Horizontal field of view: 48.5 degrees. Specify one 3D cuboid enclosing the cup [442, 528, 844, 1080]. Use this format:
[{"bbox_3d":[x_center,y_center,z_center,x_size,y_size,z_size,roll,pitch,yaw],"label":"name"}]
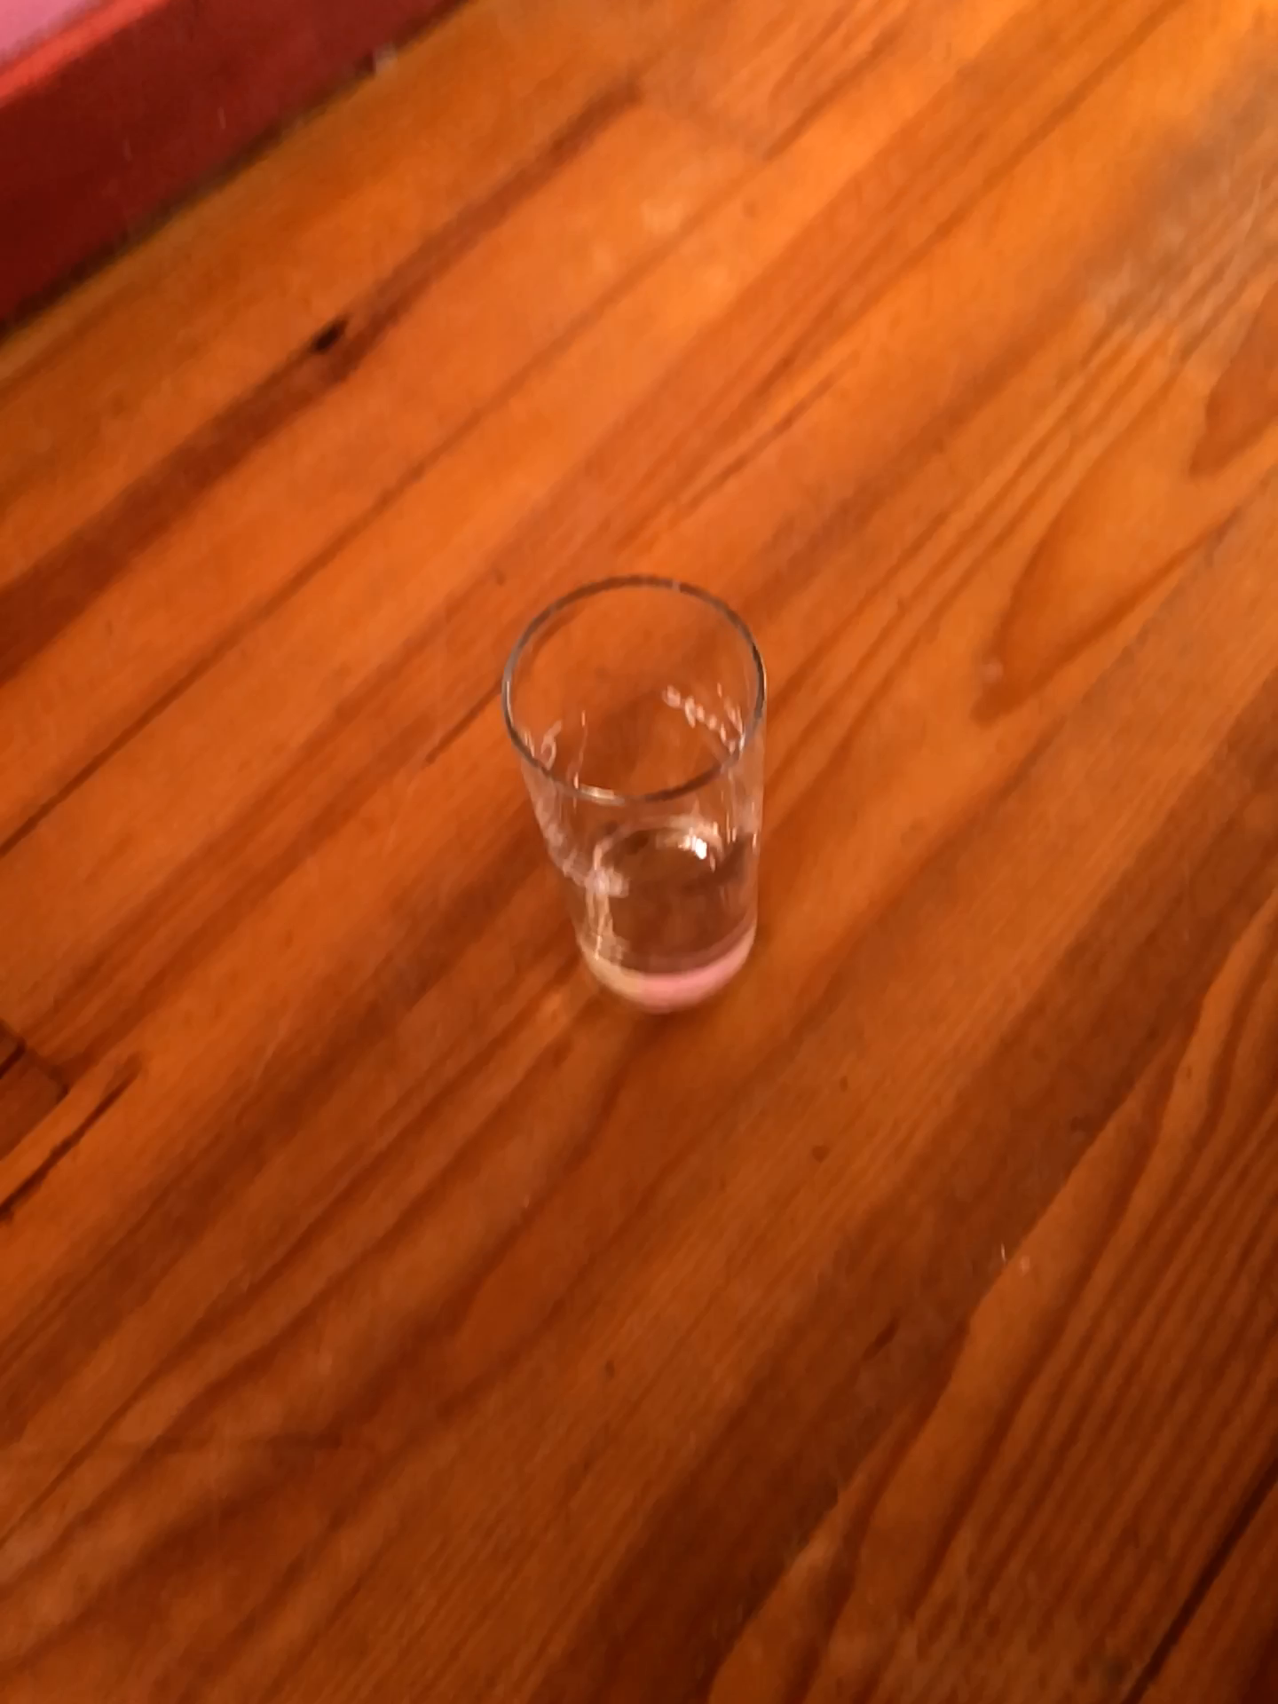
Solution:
[{"bbox_3d":[0.005,-0.004,0.327,0.056,0.124,0.056,-2,64,4],"label":"cup"}]
